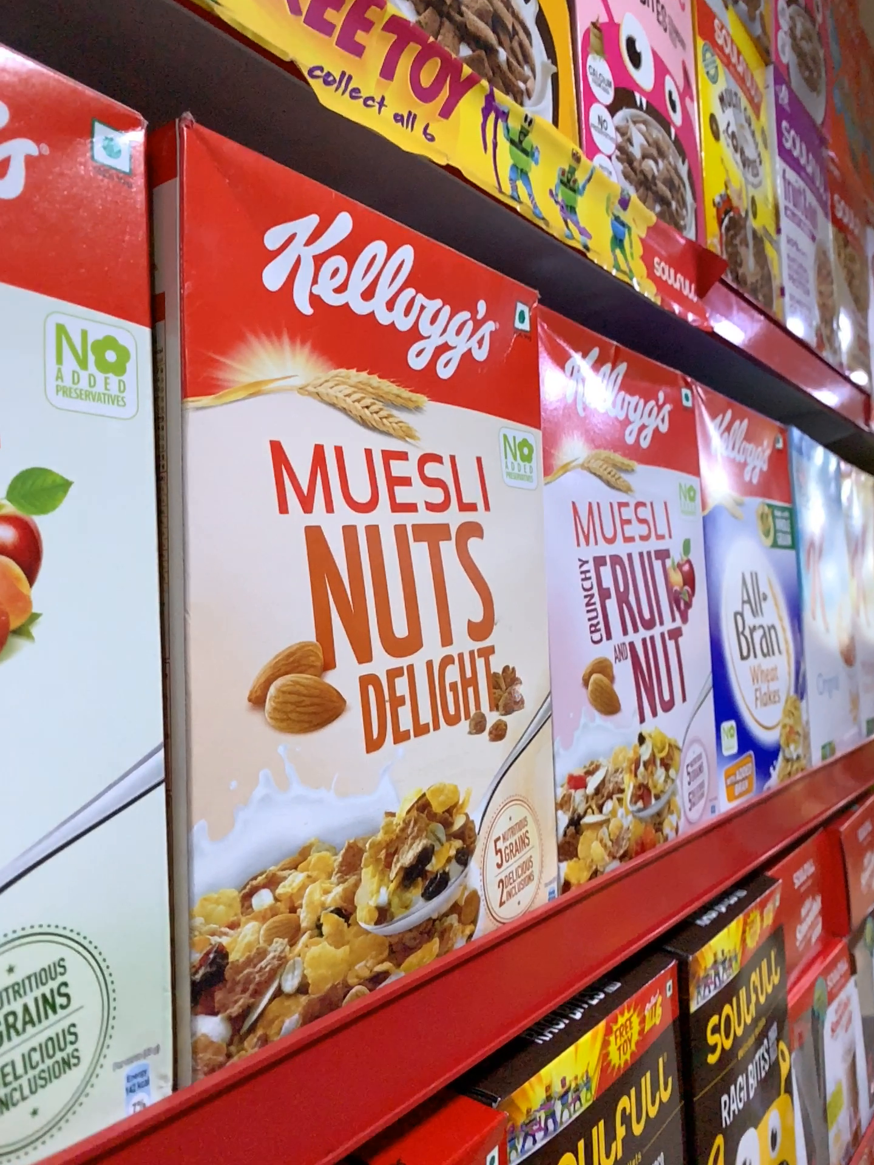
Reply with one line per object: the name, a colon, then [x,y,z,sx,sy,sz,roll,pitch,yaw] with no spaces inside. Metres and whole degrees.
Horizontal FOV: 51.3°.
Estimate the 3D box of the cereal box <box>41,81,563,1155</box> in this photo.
cereal box: [-0.032,0.006,0.298,0.060,0.250,0.170,-6,-5,36]
